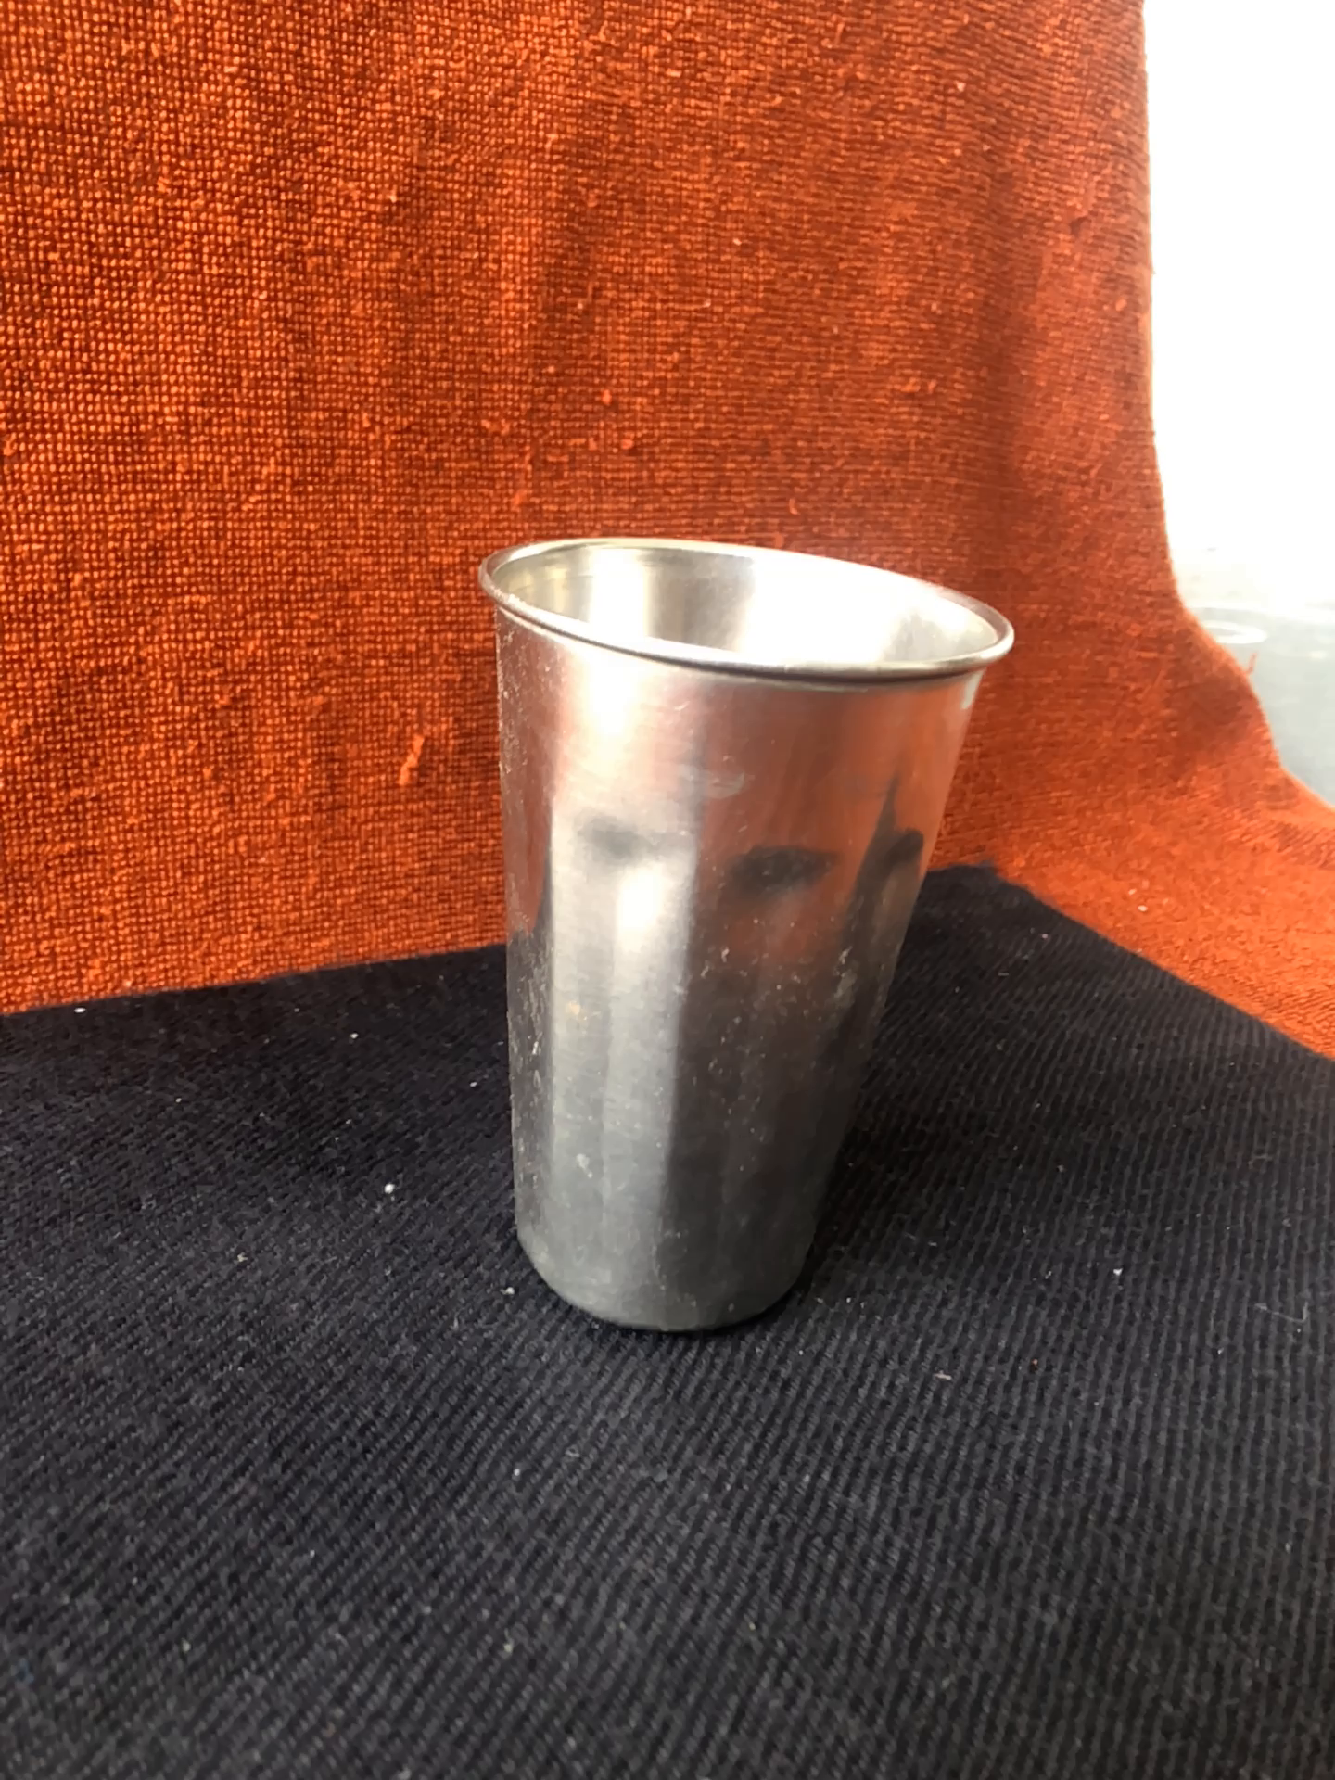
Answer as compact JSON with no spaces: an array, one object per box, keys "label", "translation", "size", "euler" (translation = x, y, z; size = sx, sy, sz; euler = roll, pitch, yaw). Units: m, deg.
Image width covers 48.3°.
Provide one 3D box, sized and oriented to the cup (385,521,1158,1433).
[{"label":"cup","translation":[0.008,0.004,0.213],"size":[0.070,0.100,0.070],"euler":[6,22,-2]}]
